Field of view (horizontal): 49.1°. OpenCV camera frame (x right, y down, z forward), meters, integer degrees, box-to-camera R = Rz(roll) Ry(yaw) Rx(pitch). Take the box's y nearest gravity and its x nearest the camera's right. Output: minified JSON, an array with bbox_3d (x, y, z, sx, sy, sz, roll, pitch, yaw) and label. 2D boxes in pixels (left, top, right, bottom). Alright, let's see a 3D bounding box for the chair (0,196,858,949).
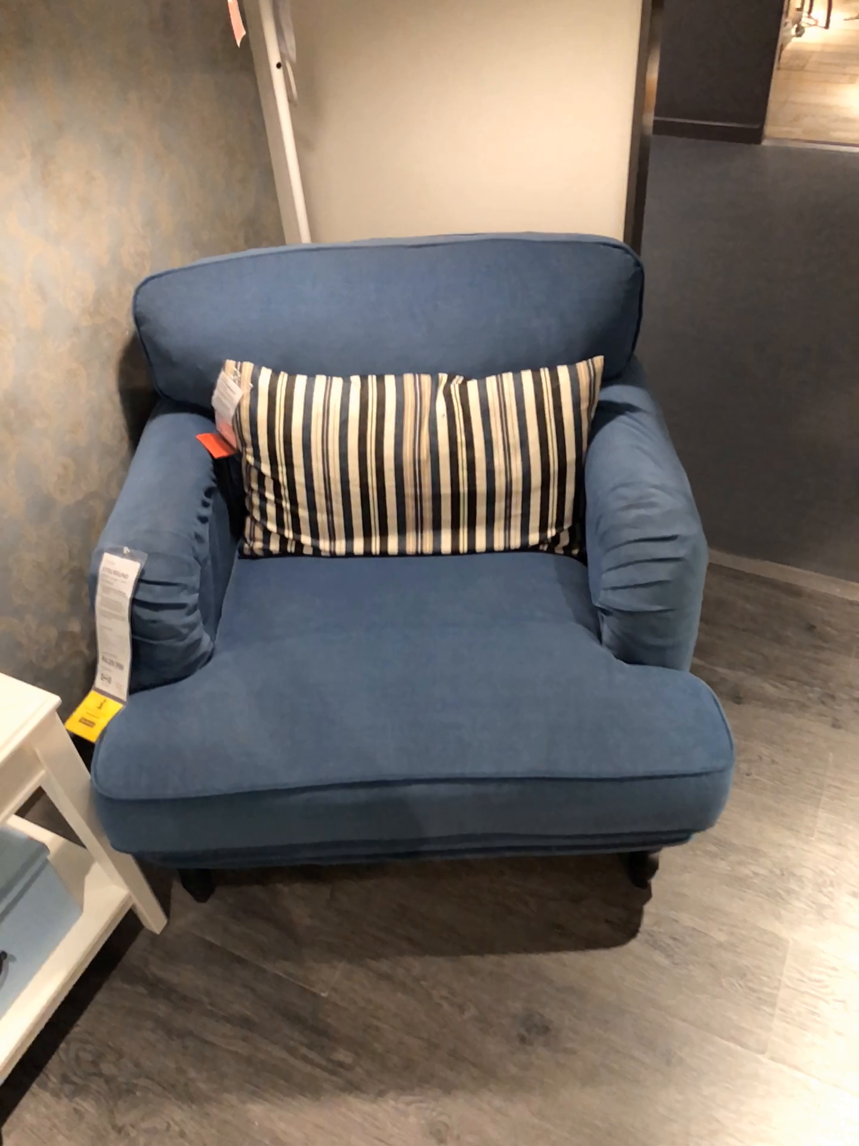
[{"bbox_3d":[-0.015,-0.016,1.382,0.890,0.696,0.805,-3,43,2],"label":"chair"}]
